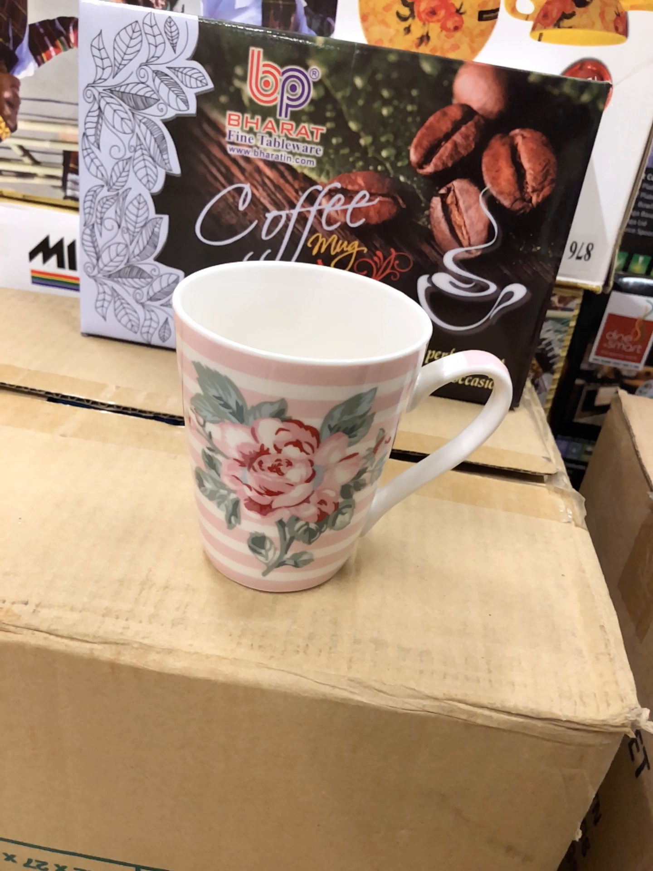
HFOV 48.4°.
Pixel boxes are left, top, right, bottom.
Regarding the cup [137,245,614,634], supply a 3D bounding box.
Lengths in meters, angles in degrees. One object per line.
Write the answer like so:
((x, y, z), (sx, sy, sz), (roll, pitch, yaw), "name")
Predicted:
((0.009, -0.002, 0.257), (0.130, 0.089, 0.091), (6, 30, -4), "cup")
